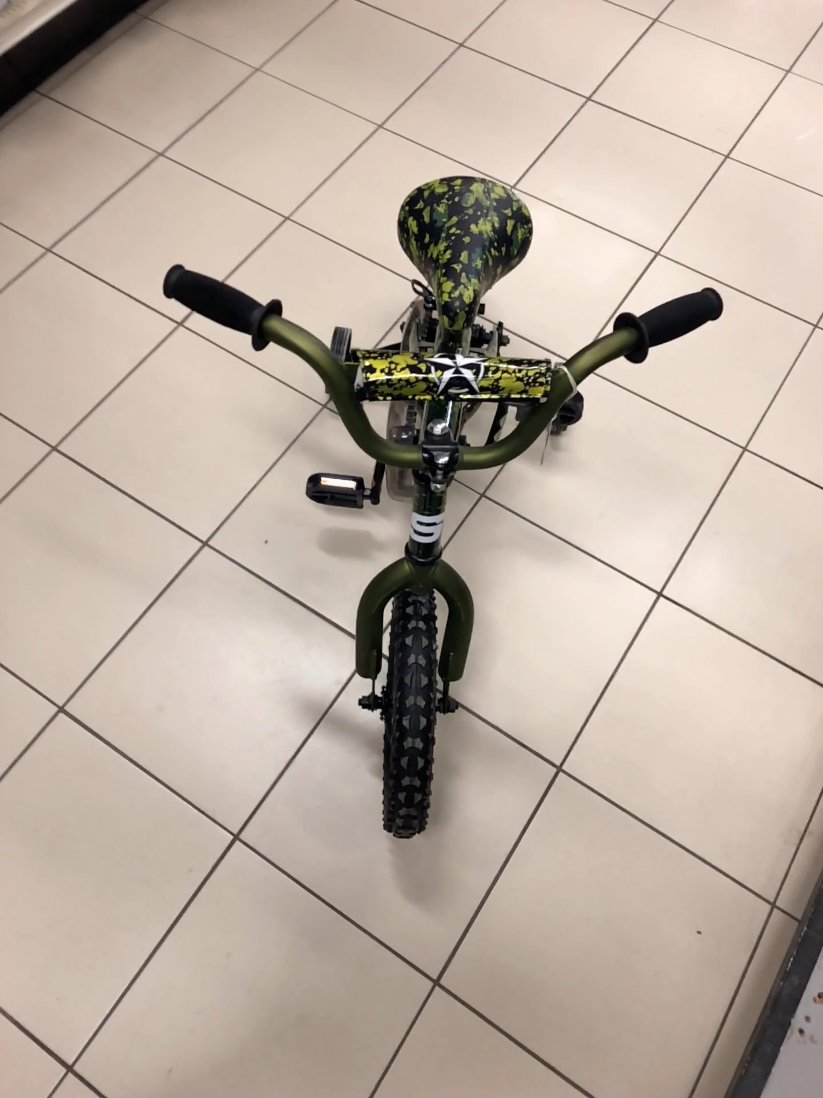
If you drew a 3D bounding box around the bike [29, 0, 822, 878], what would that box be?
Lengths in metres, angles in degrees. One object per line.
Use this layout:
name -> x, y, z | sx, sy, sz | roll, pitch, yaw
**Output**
bike -> 0.056, -0.126, 1.009 | 0.532, 0.557, 0.818 | 5, 61, 2
